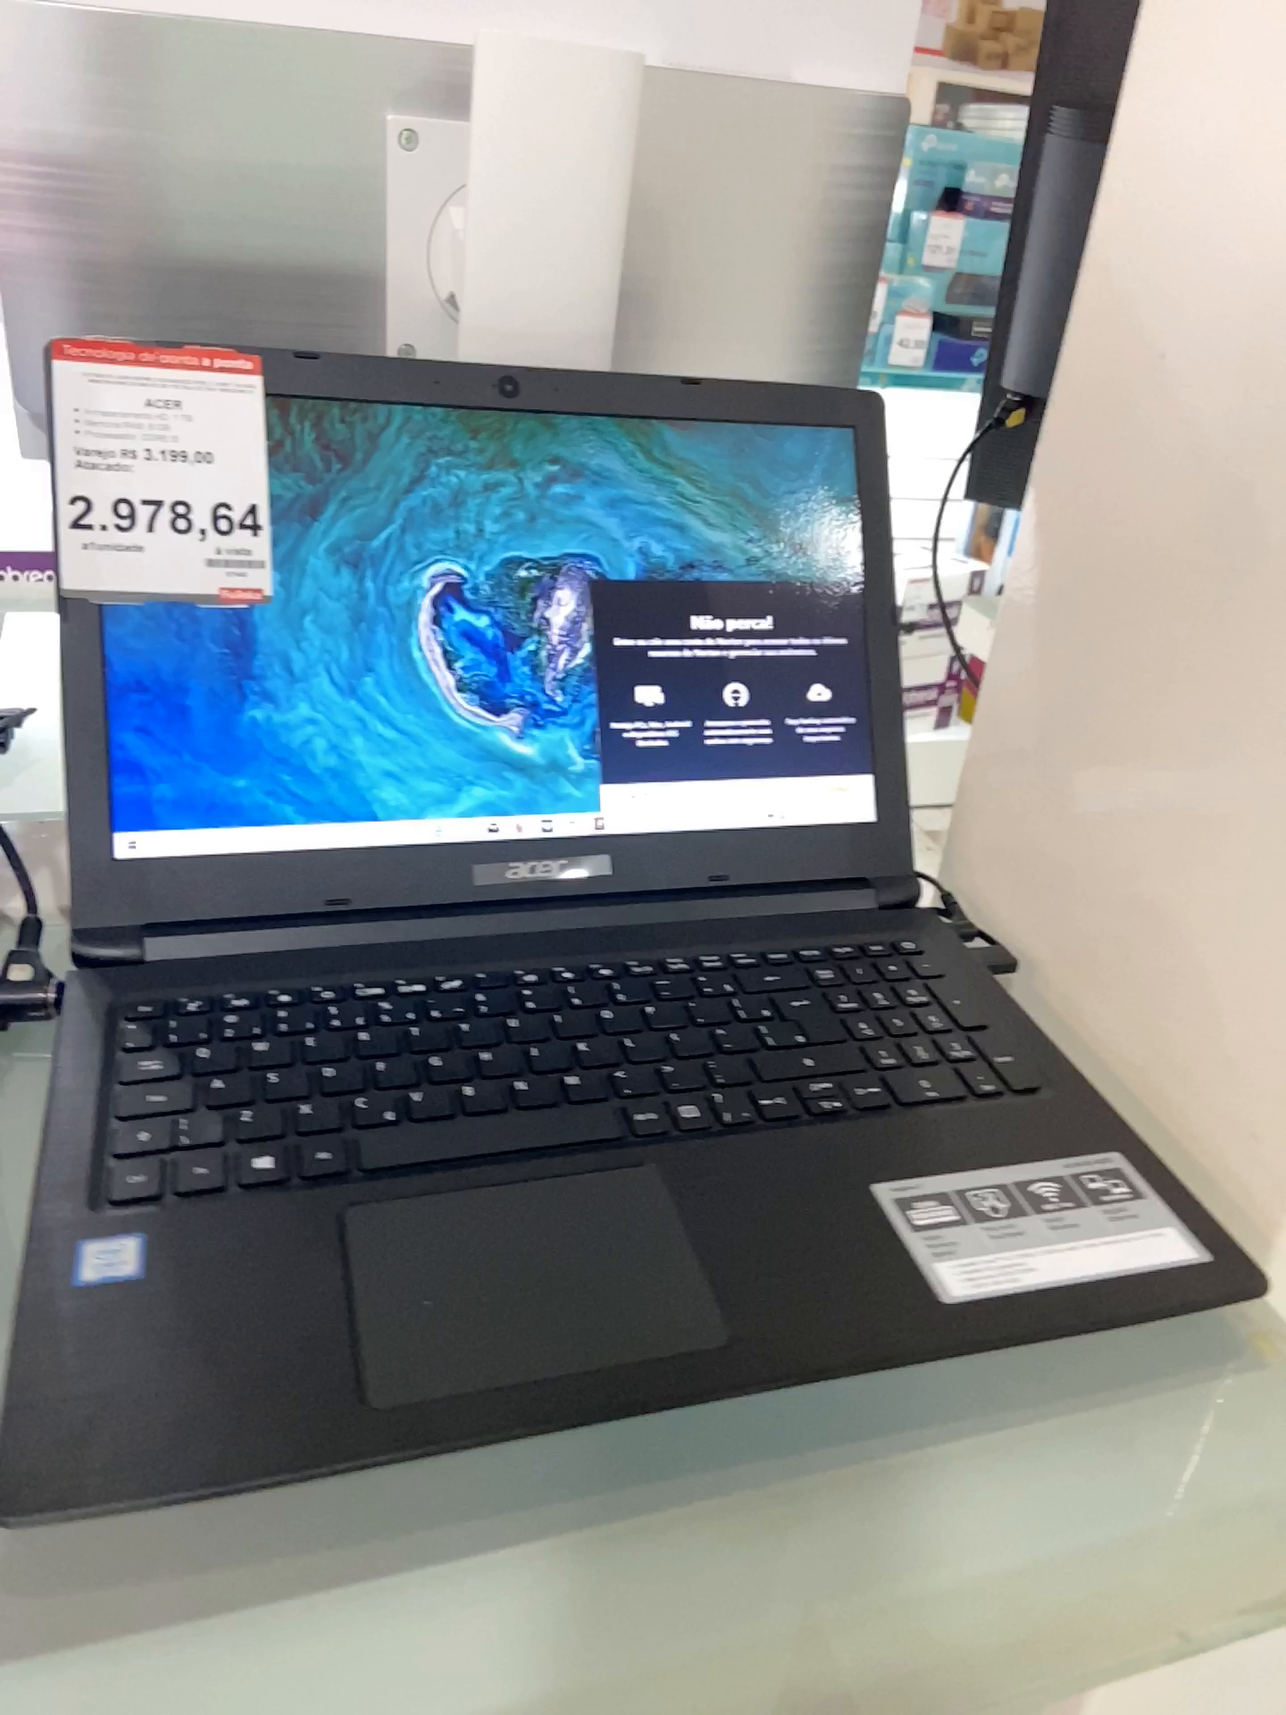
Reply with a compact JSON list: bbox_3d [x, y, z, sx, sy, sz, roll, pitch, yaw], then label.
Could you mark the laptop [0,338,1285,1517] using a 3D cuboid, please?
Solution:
[{"bbox_3d":[-0.019,-0.036,0.475,0.369,0.205,0.377,-3,29,-17],"label":"laptop"}]
